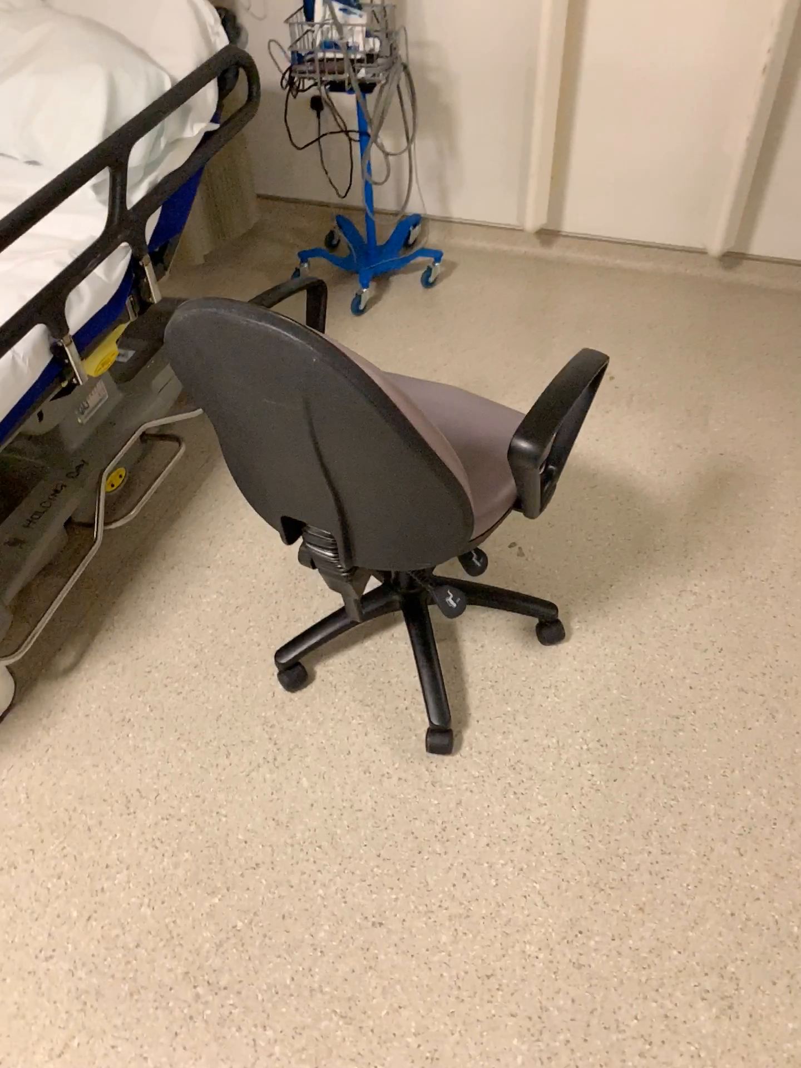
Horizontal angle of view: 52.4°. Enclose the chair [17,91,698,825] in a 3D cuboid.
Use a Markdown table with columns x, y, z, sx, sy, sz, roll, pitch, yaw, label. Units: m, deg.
| x | y | z | sx | sy | sz | roll | pitch | yaw | label |
| --- | --- | --- | --- | --- | --- | --- | --- | --- | --- |
| -0.008 | -0.143 | 1.430 | 0.652 | 0.882 | 0.714 | 22 | 51 | 23 | chair |
